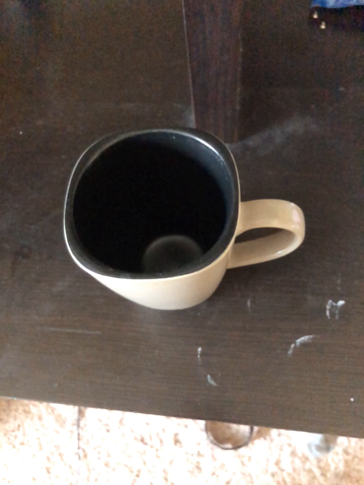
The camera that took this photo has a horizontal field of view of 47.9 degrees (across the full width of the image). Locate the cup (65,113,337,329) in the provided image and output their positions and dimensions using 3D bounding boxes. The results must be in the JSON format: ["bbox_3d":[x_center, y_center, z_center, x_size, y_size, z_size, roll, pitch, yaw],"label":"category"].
[{"bbox_3d":[0.013,-0.004,0.266,0.130,0.110,0.100,-1,68,5],"label":"cup"}]
